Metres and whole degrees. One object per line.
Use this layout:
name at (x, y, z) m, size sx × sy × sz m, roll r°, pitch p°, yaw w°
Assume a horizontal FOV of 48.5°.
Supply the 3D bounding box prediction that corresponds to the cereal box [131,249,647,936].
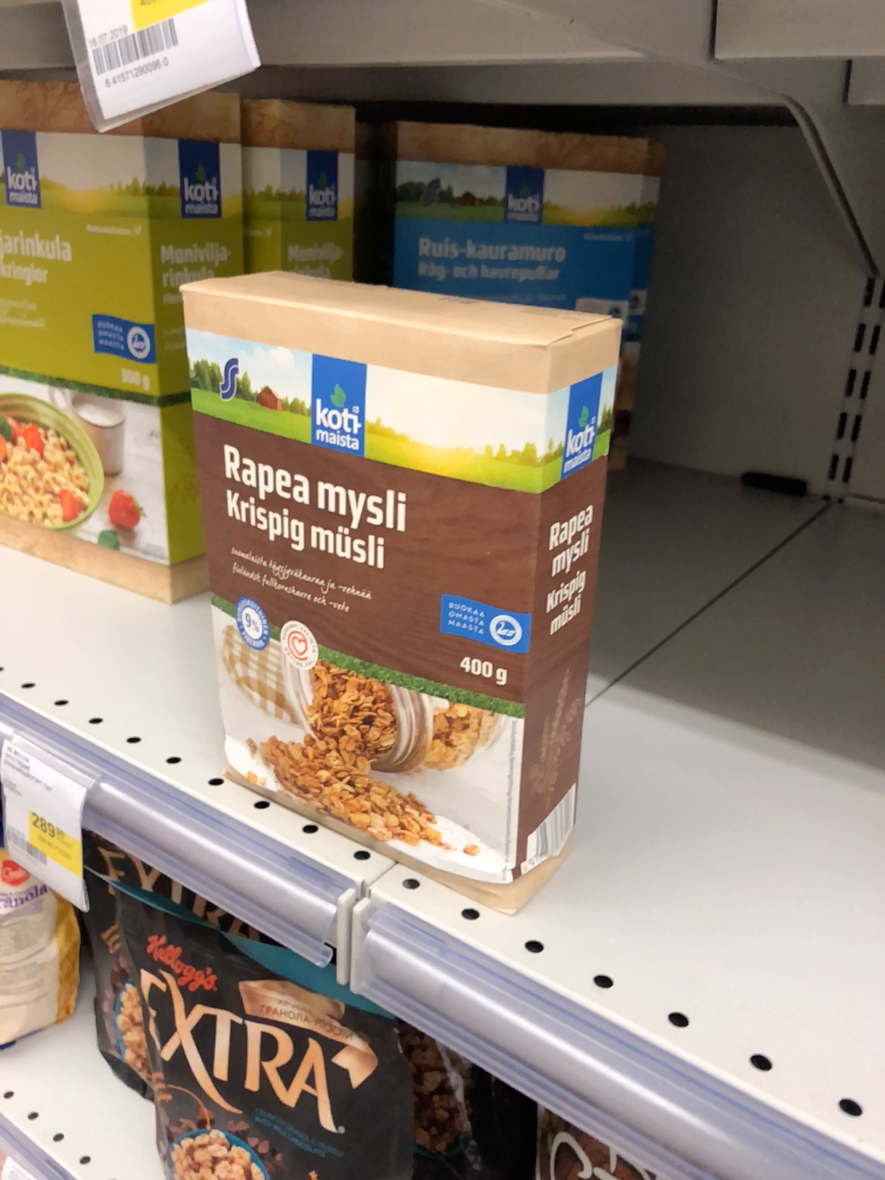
cereal box at (-0.022, -0.005, 0.325) m, size 0.150 × 0.189 × 0.050 m, roll 17°, pitch 28°, yaw 30°
